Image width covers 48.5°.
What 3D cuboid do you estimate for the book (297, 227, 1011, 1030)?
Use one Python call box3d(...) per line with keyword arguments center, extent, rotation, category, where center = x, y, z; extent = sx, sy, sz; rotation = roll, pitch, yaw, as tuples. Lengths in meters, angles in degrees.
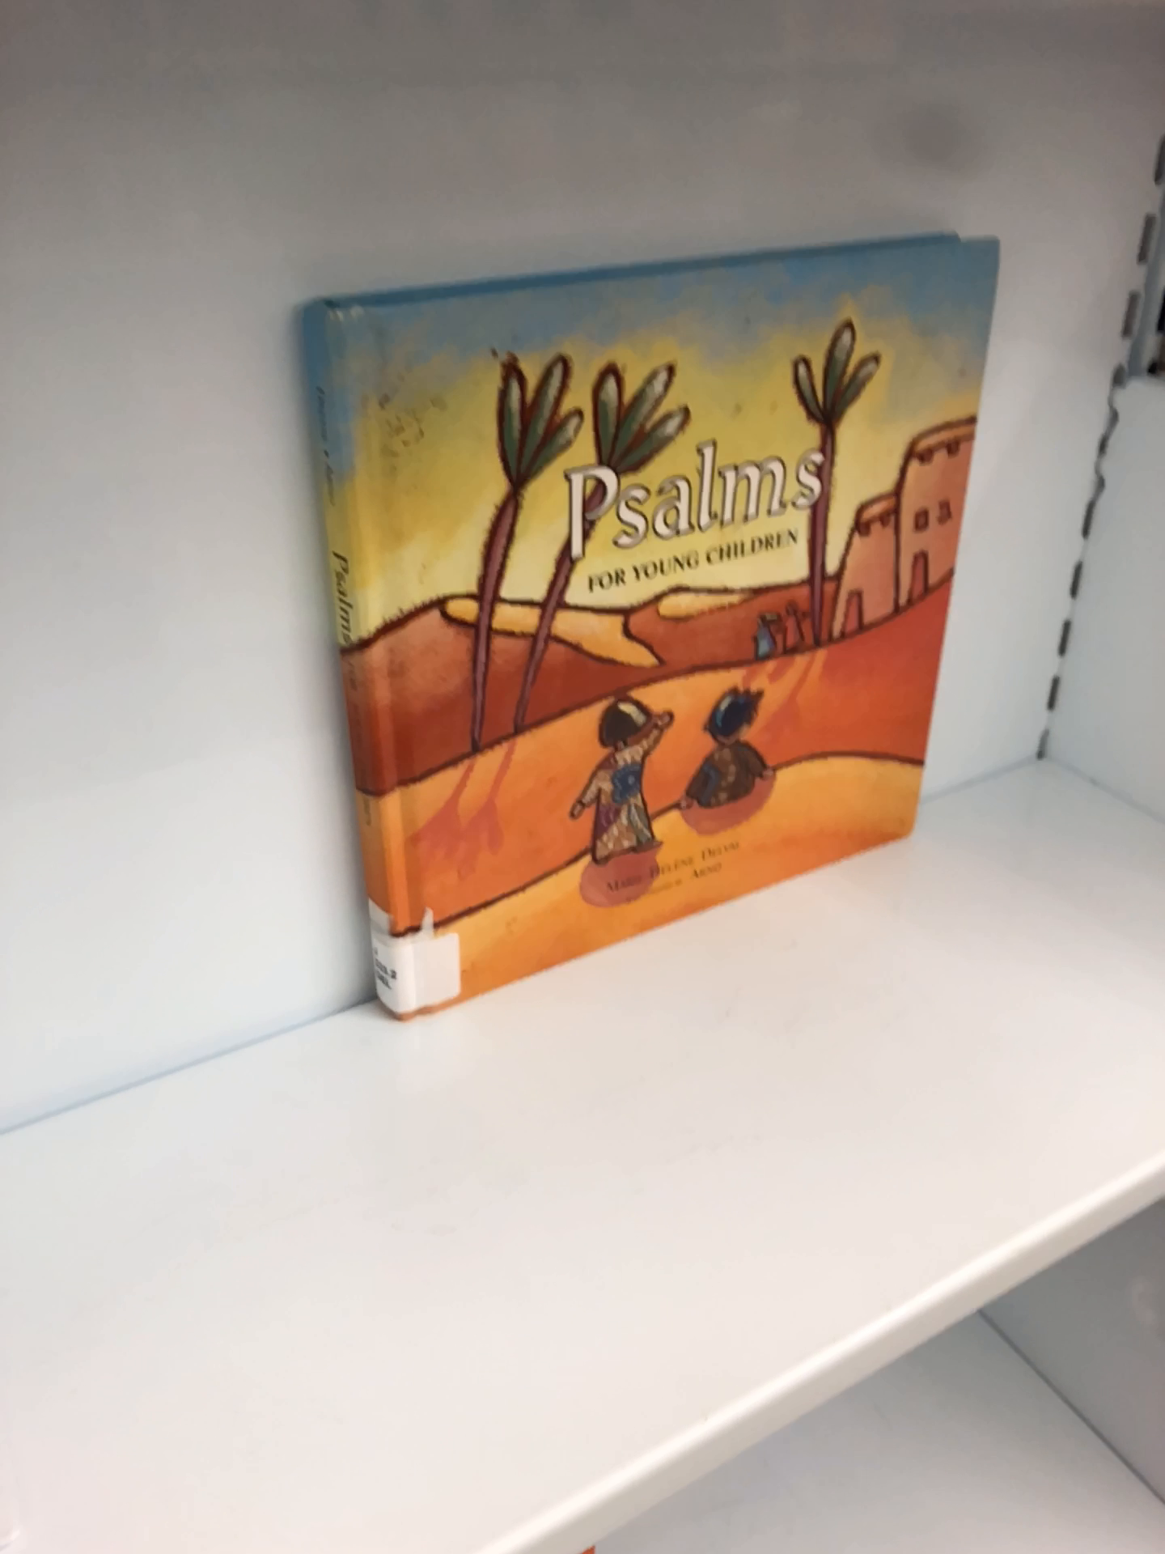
box3d(center=(0.030, -0.047, 0.387), extent=(0.212, 0.205, 0.021), rotation=(-17, 34, -28), category="book")
